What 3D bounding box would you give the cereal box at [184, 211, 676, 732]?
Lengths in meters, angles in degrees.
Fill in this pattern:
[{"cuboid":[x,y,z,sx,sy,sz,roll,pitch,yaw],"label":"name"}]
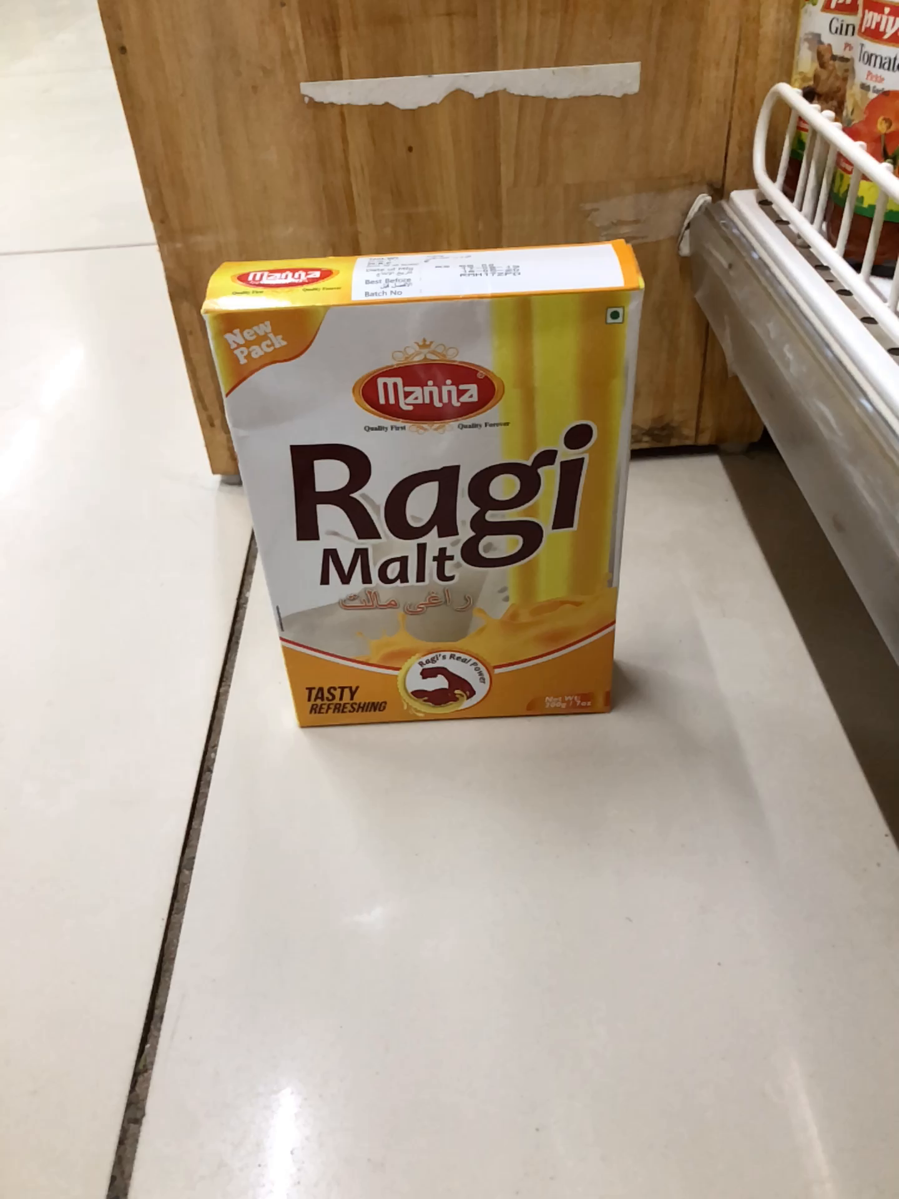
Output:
[{"cuboid":[0.001,-0.034,0.352,0.140,0.179,0.040,-3,37,4],"label":"cereal box"}]
